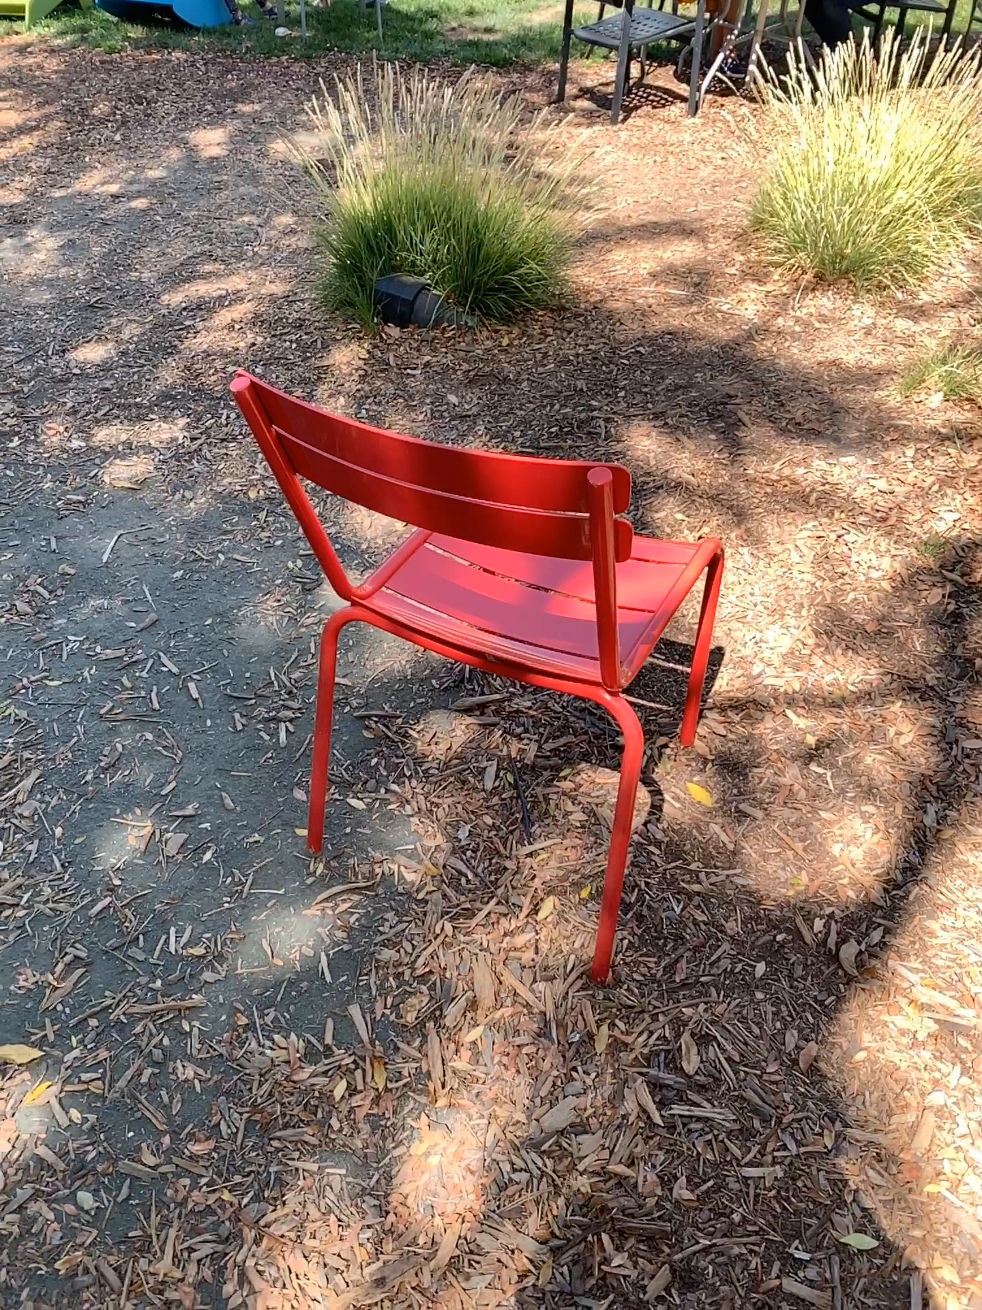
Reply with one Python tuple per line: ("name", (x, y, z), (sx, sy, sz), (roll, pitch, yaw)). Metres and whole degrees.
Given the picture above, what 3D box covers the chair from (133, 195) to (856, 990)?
("chair", (0.043, -0.086, 1.398), (0.611, 0.786, 0.572), (19, 50, 21))
